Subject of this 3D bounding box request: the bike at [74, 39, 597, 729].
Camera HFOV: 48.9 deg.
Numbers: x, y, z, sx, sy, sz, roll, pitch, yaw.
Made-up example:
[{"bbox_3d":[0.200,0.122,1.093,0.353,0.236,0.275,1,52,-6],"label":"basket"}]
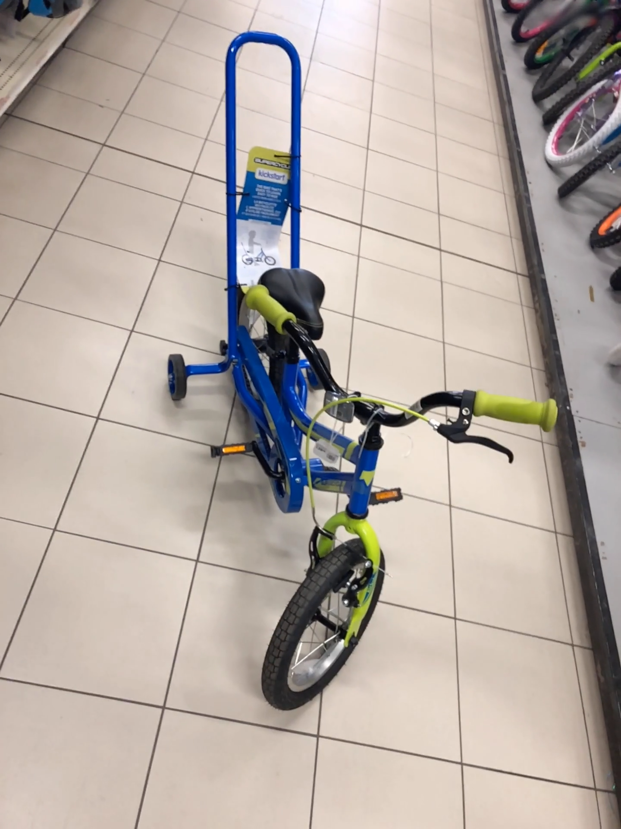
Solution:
[{"bbox_3d":[-0.086,-0.064,1.270,0.538,0.763,0.957,5,50,-18],"label":"bike"}]
